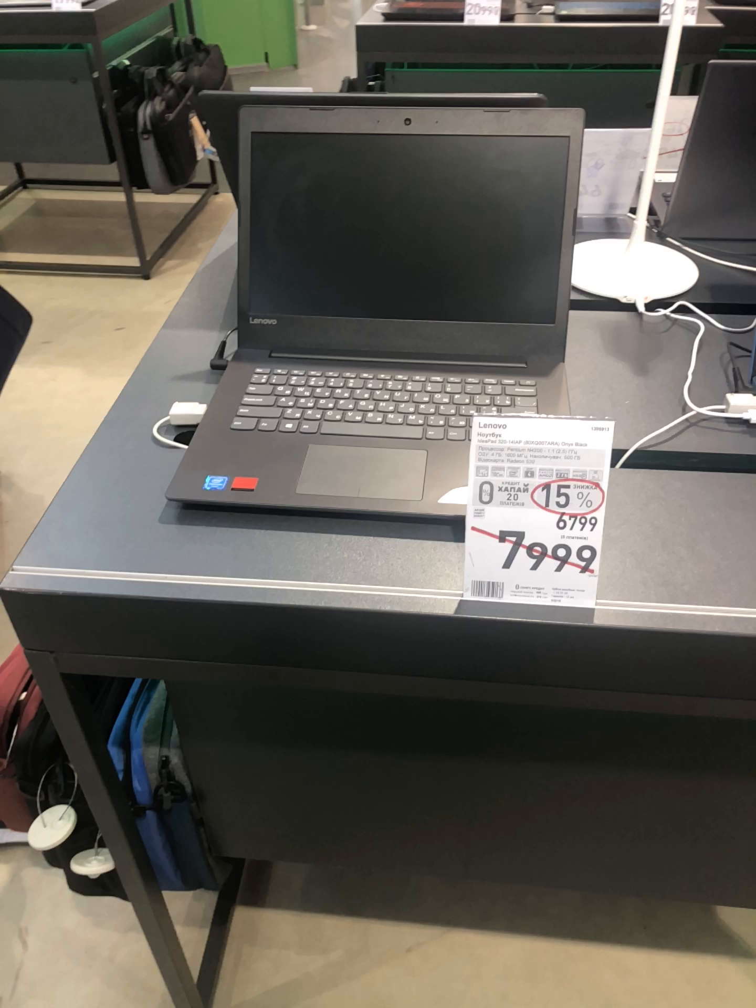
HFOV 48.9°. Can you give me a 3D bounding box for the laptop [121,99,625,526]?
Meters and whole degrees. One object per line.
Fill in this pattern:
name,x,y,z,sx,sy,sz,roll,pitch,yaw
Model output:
laptop,0.014,-0.192,0.740,0.330,0.205,0.363,4,41,6
